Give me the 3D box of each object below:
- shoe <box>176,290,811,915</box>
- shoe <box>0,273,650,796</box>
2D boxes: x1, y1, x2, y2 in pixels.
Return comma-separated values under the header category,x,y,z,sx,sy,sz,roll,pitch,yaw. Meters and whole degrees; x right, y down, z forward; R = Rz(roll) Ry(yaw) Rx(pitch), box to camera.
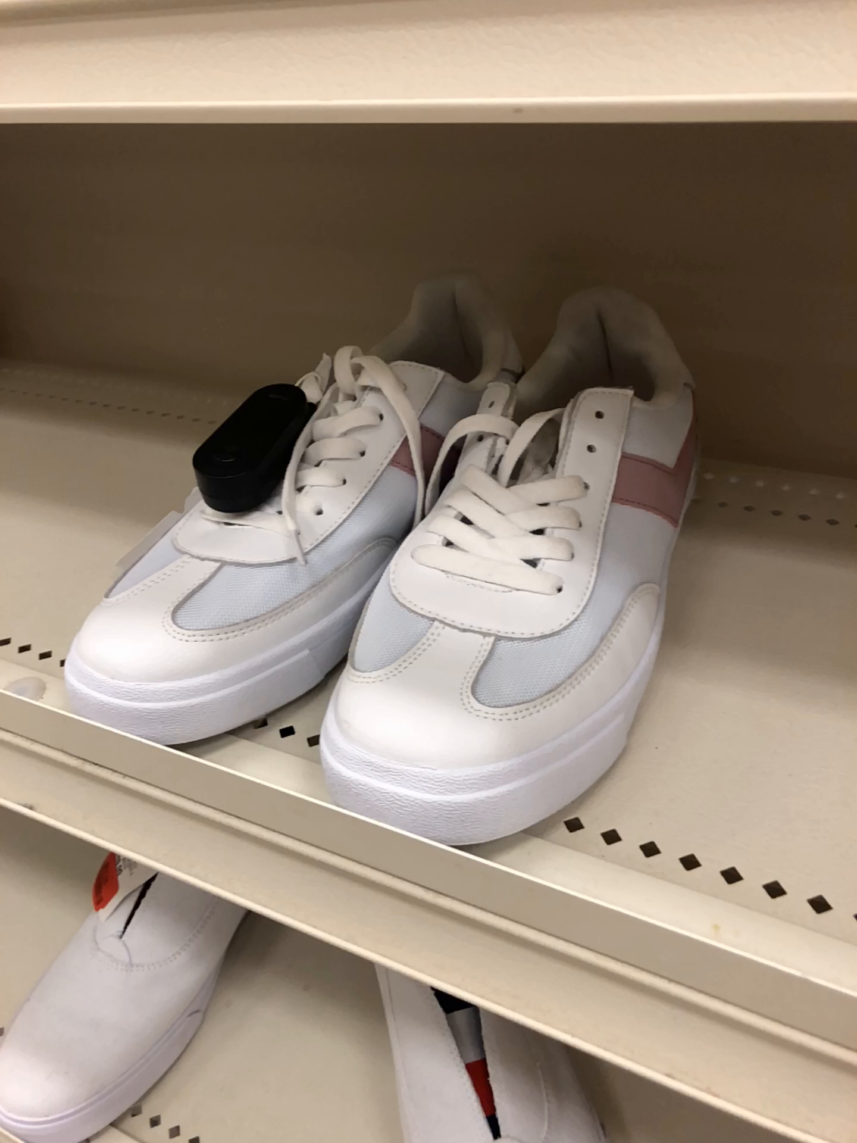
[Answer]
category,x,y,z,sx,sy,sz,roll,pitch,yaw
shoe,0.072,-0.042,0.410,0.120,0.119,0.392,11,24,24
shoe,-0.026,-0.062,0.442,0.120,0.119,0.392,14,25,28
